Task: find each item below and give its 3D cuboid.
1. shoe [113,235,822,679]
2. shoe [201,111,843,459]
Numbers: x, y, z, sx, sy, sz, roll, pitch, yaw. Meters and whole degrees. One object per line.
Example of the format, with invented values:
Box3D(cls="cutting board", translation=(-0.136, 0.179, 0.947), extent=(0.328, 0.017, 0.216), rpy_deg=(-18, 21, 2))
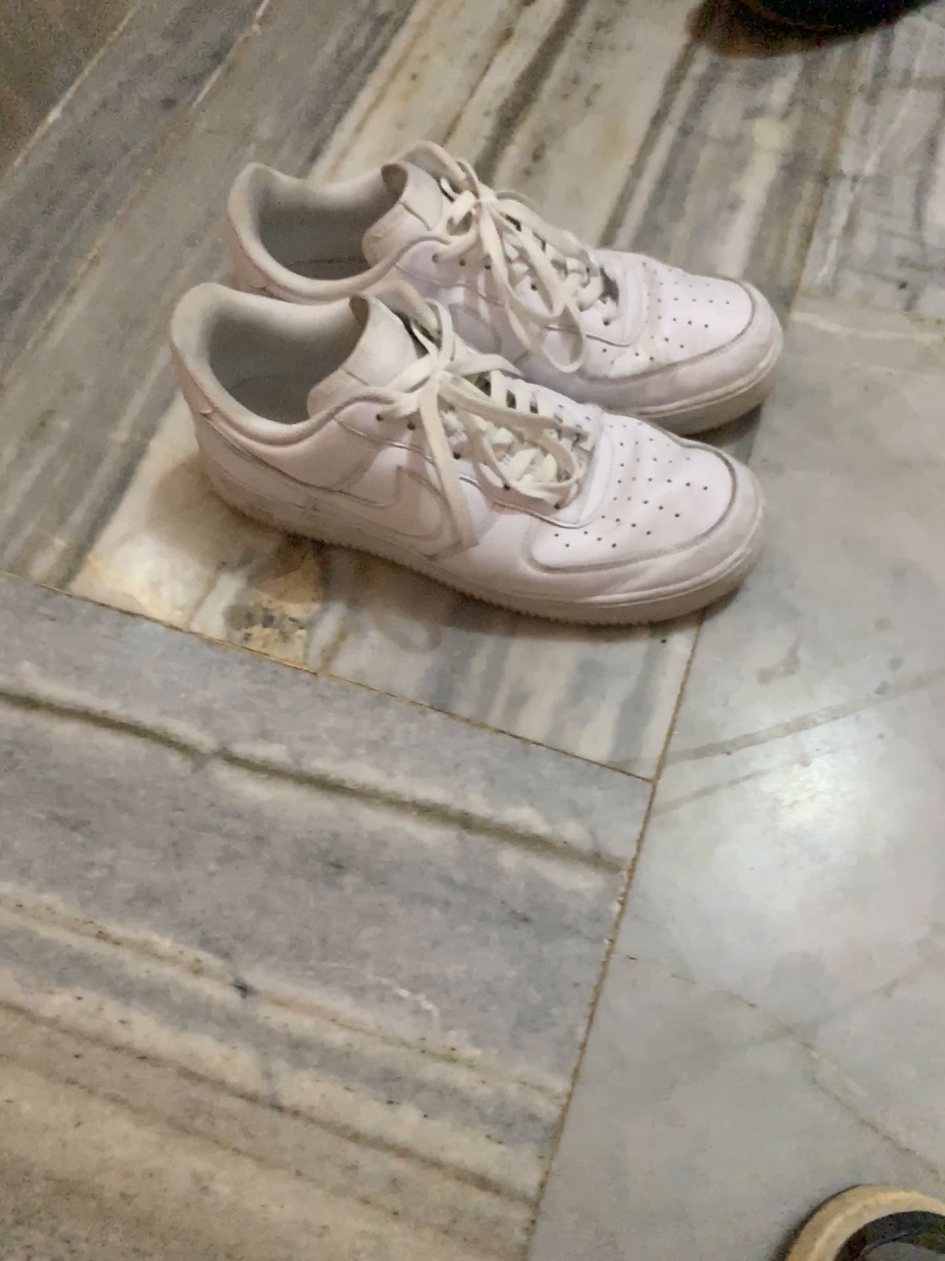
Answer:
Box3D(cls="shoe", translation=(-0.002, -0.090, 0.504), extent=(0.310, 0.120, 0.110), rpy_deg=(16, 66, 11))
Box3D(cls="shoe", translation=(0.029, -0.191, 0.544), extent=(0.310, 0.120, 0.110), rpy_deg=(7, 64, 7))
